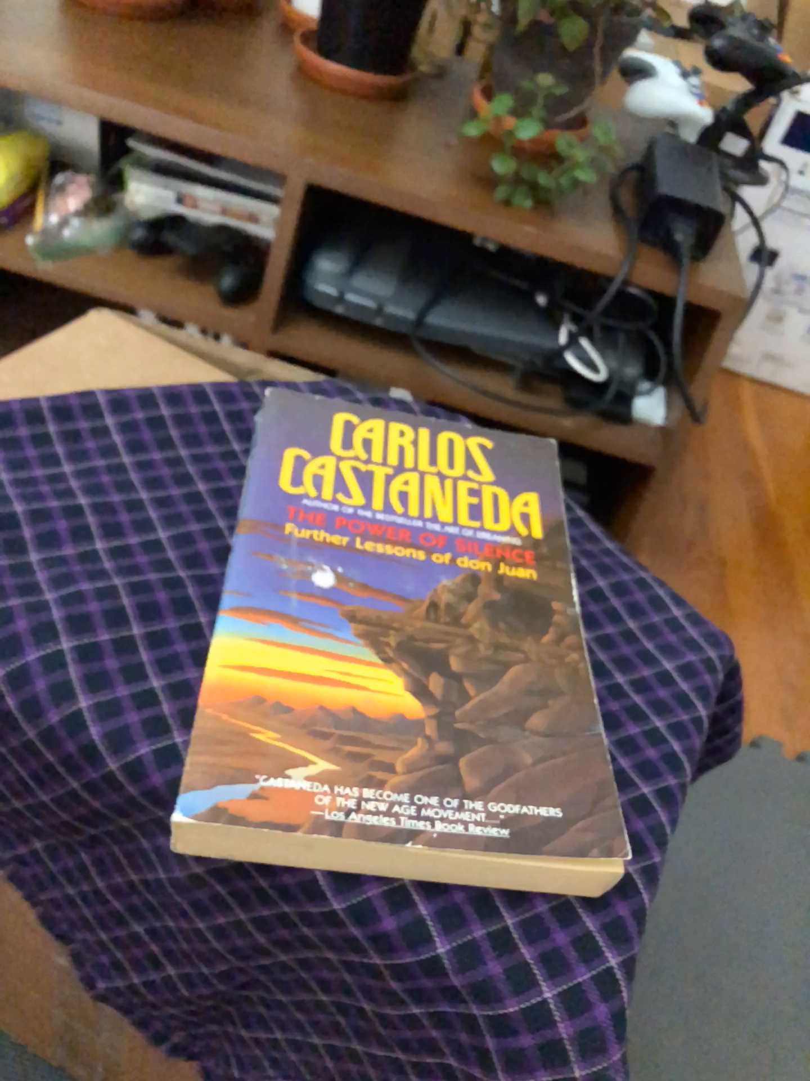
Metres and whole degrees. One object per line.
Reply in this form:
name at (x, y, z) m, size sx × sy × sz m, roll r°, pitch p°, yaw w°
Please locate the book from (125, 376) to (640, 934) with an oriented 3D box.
book at (-0.002, 0.024, 0.343) m, size 0.150 × 0.020 × 0.221 m, roll 10°, pitch 44°, yaw -7°
